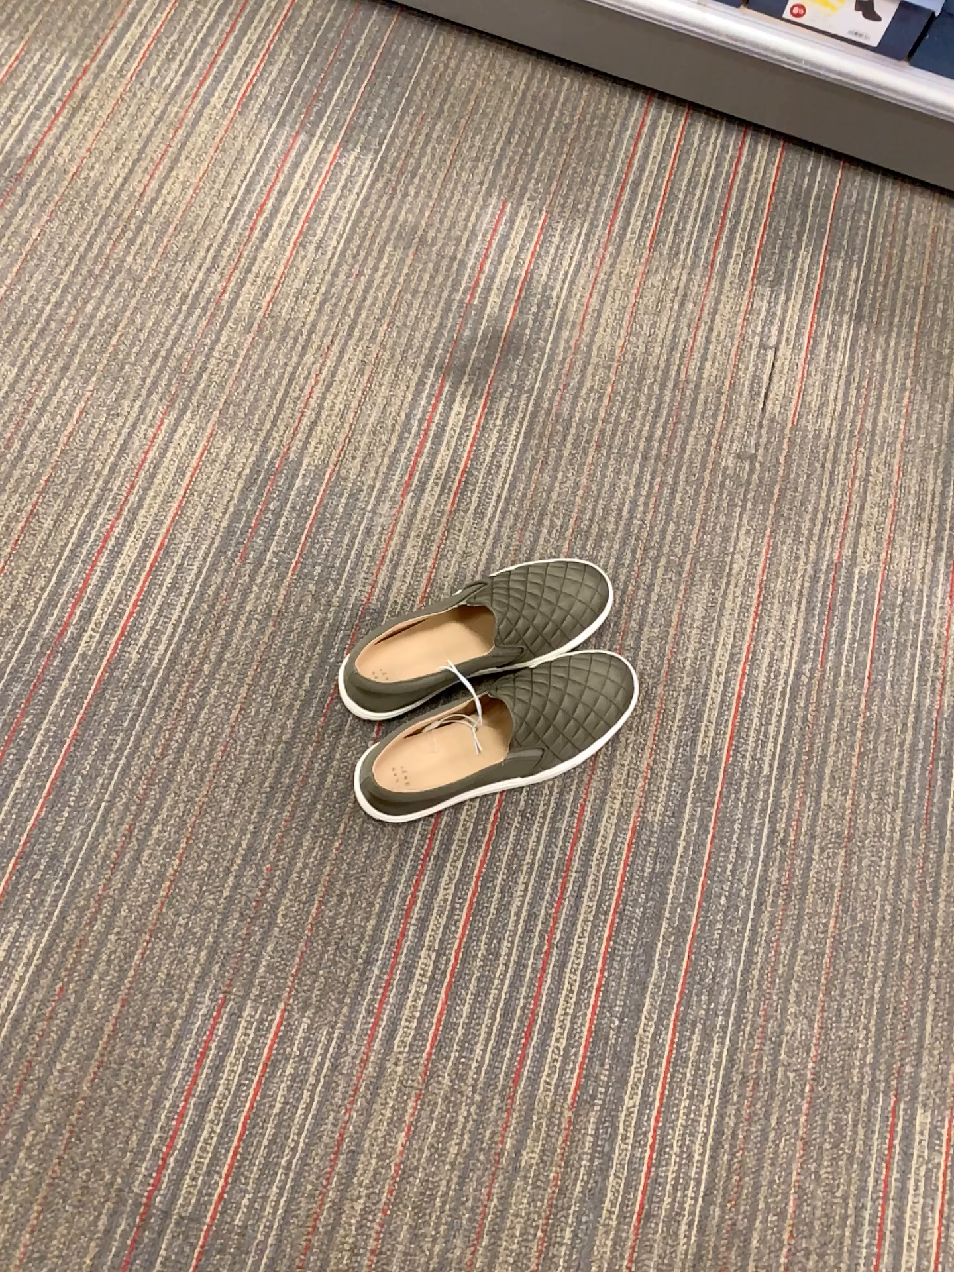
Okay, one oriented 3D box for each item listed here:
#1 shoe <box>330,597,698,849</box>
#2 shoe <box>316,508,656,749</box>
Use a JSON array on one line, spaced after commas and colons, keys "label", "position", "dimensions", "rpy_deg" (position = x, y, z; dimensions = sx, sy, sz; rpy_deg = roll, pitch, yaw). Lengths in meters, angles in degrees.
[{"label": "shoe", "position": [0.026, 0.078, 0.859], "dimensions": [0.290, 0.130, 0.100], "rpy_deg": [-19, 74, -14]}, {"label": "shoe", "position": [0.005, -0.007, 0.915], "dimensions": [0.290, 0.110, 0.100], "rpy_deg": [-22, 75, -15]}]
